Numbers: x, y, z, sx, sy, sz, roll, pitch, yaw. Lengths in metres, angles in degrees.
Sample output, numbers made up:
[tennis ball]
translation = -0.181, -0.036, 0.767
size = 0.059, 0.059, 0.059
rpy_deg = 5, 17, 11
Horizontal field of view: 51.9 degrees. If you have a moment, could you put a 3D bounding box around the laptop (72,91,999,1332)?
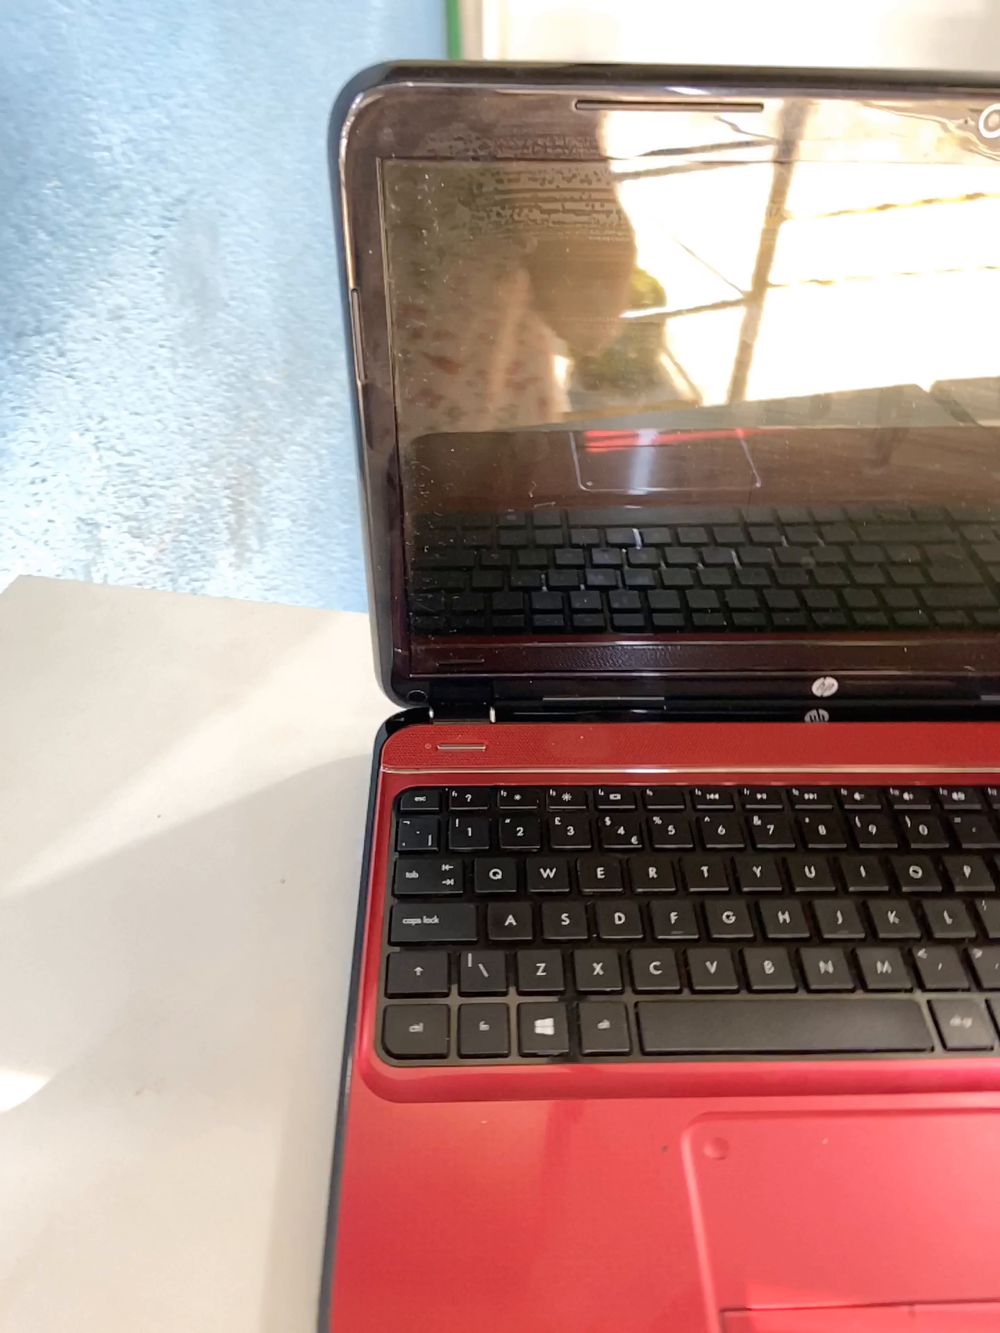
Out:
[laptop]
translation = 0.135, 0.007, 0.256
size = 0.356, 0.220, 0.228
rpy_deg = -1, 39, 0
